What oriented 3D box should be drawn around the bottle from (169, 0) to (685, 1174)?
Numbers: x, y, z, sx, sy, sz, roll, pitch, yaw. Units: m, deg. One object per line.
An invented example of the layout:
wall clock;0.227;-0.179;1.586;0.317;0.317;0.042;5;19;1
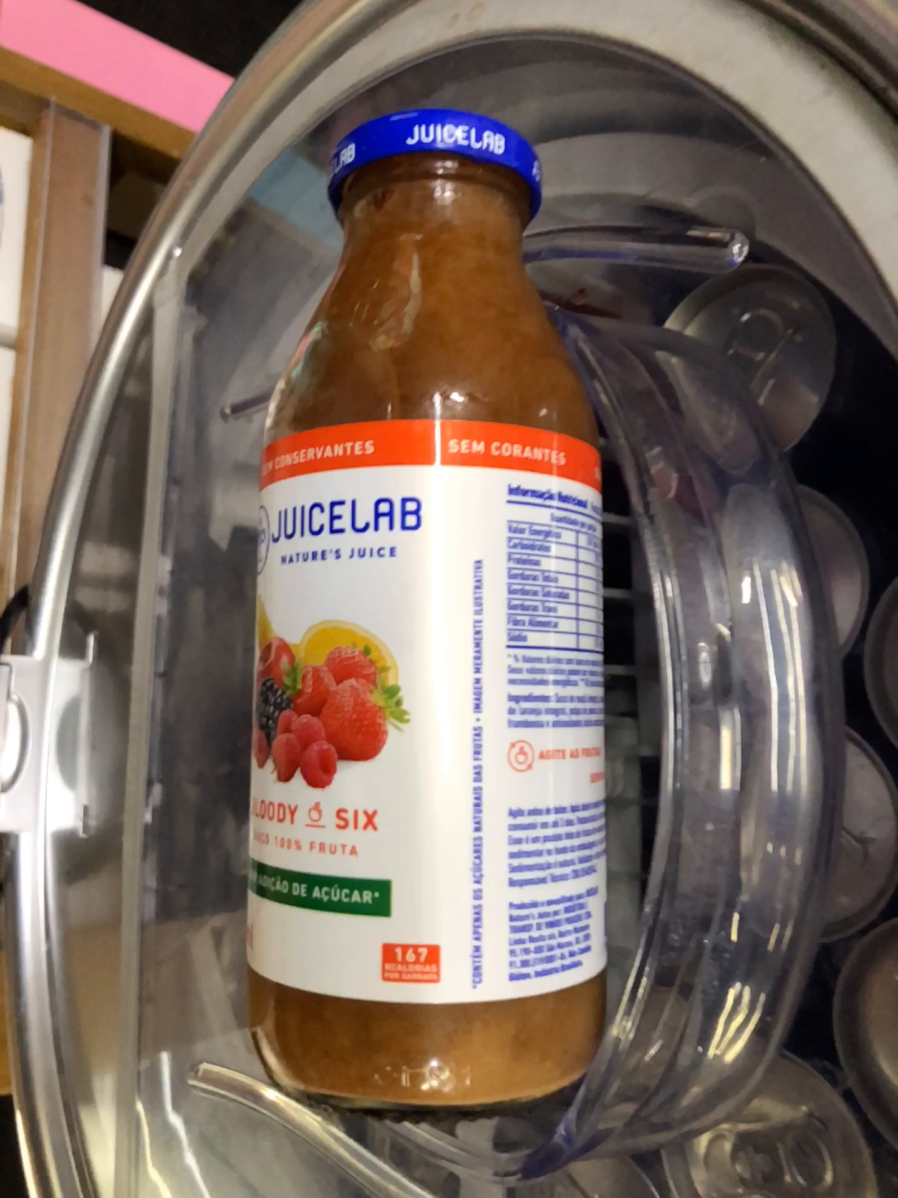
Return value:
bottle;0.000;-0.012;0.192;0.070;0.060;0.190;-4;81;35
